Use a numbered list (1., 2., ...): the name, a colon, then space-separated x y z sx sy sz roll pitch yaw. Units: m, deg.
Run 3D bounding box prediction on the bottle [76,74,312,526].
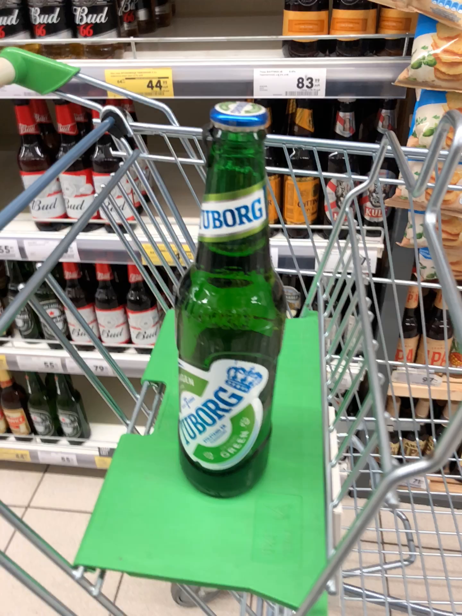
1. bottle: -0.014 0.011 0.304 0.080 0.259 0.070 20 41 26
